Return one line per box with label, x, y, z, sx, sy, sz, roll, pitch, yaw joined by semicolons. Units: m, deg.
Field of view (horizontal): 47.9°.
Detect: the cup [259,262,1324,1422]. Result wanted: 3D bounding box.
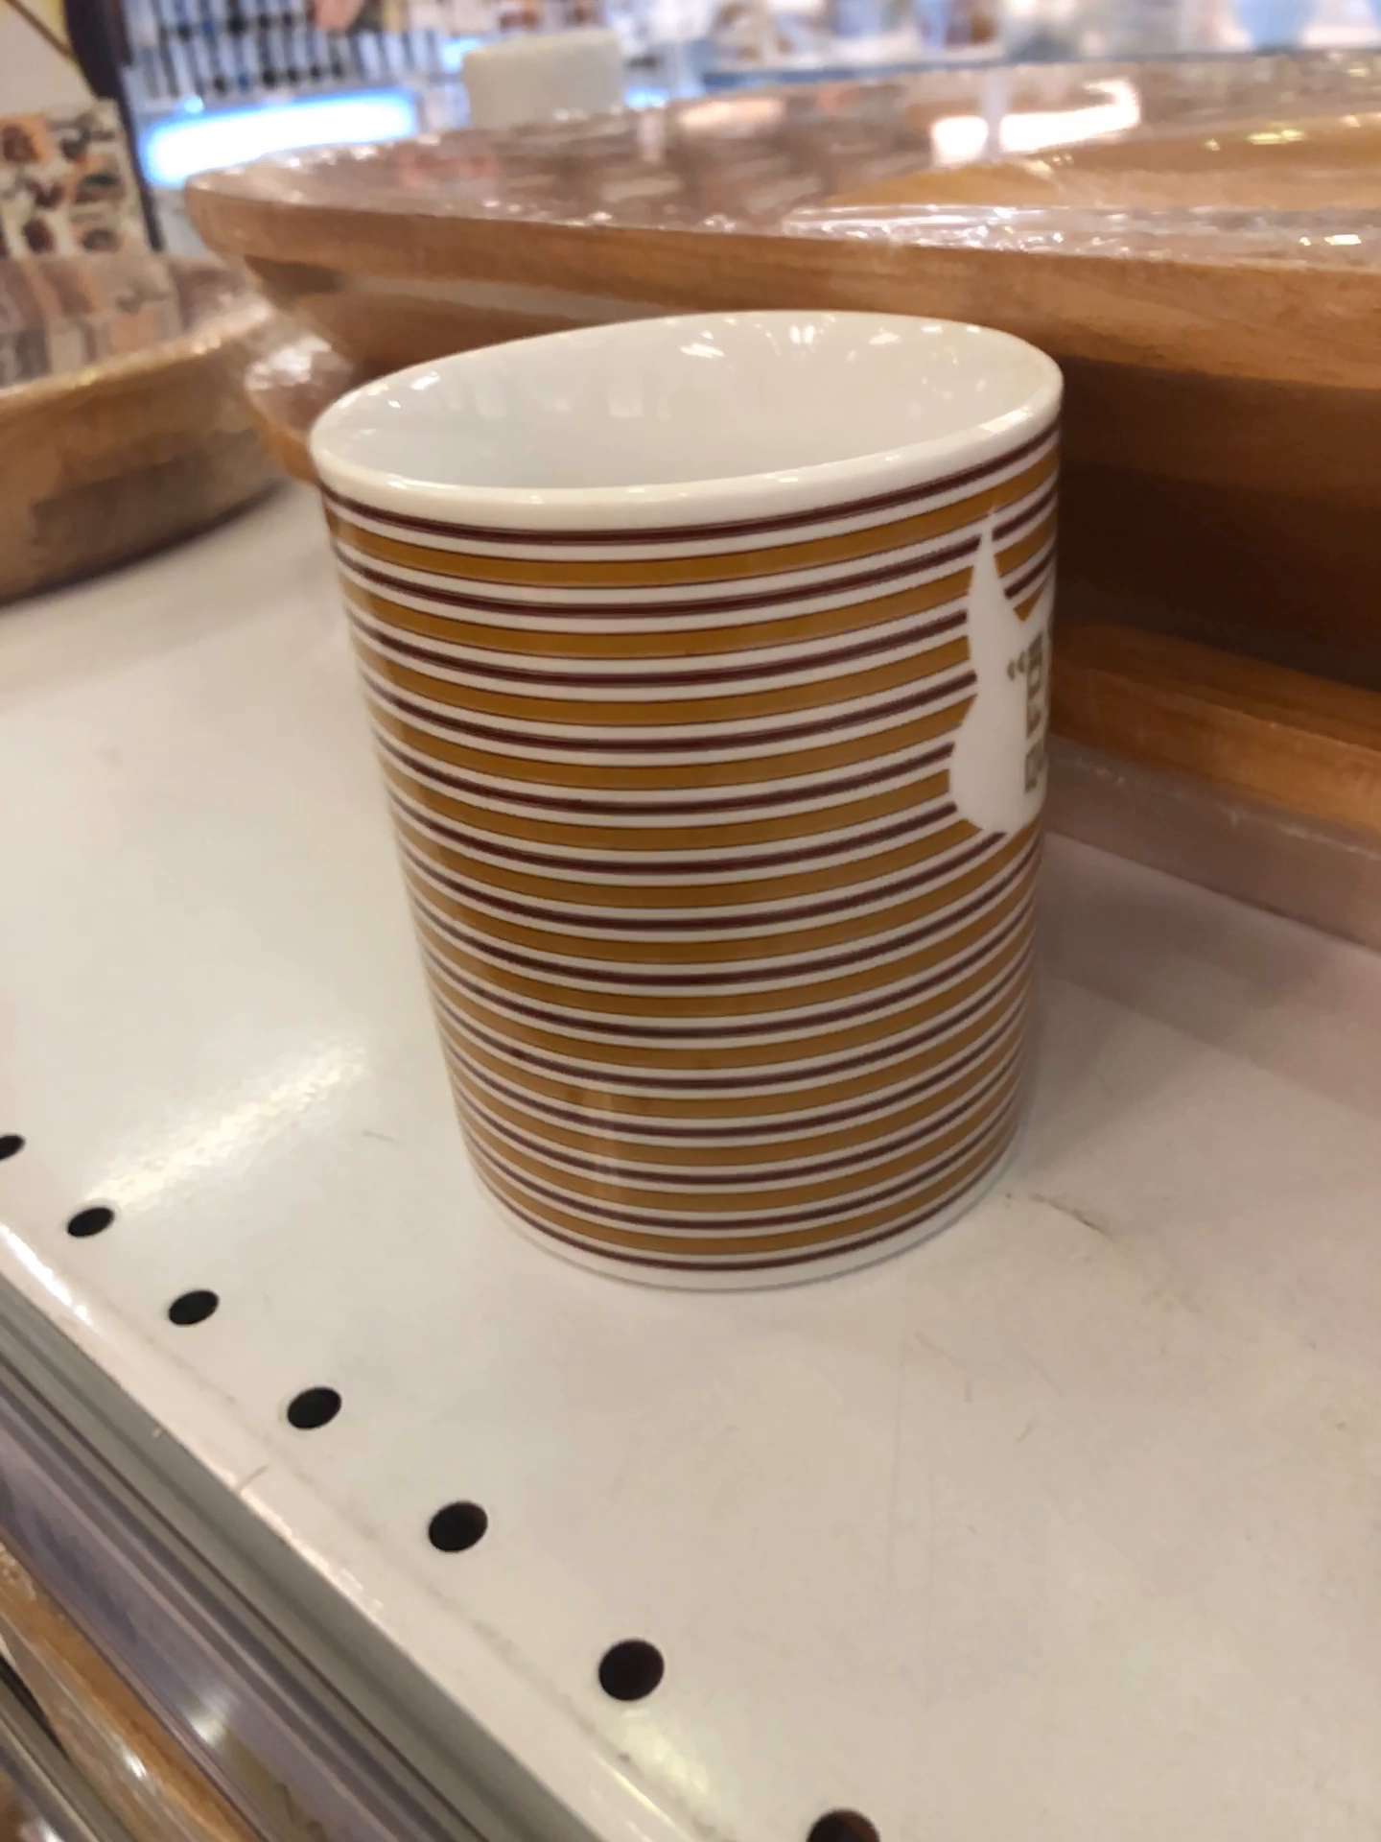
cup;0.001;-0.023;0.200;0.090;0.089;0.121;-11;31;-9
